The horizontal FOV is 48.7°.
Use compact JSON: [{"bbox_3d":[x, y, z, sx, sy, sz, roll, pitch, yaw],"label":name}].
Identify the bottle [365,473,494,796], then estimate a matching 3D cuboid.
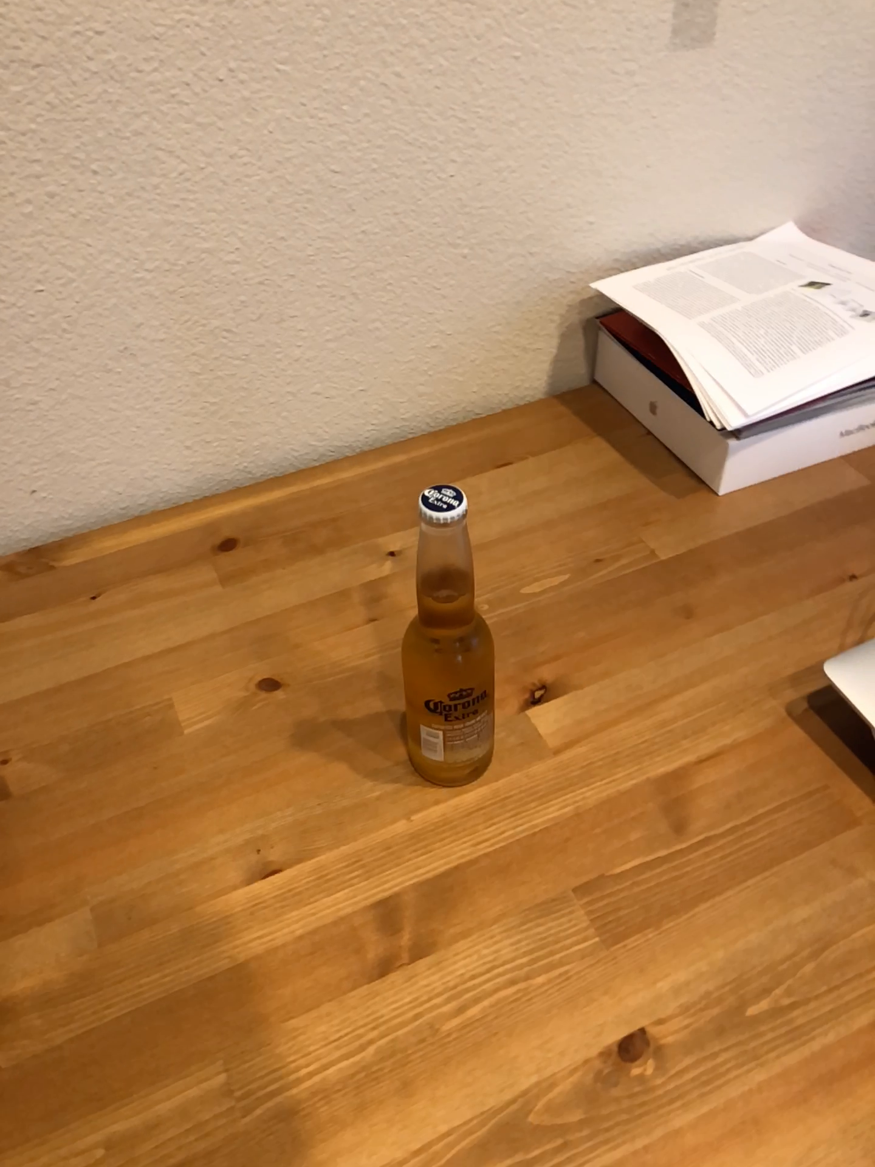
[{"bbox_3d":[0.001,0.042,0.627,0.070,0.229,0.070,-2,43,1],"label":"bottle"}]
